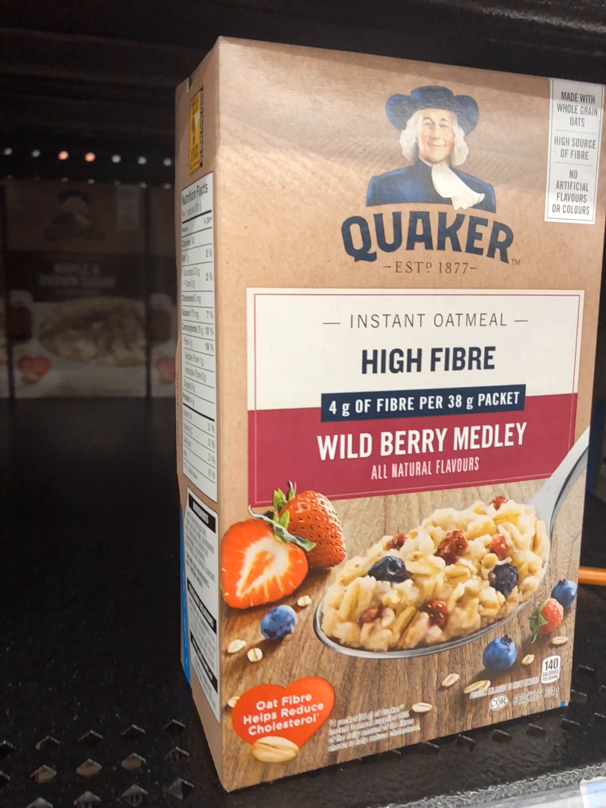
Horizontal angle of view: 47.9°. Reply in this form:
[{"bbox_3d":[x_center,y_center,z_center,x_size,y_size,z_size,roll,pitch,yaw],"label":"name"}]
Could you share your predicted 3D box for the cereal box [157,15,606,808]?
[{"bbox_3d":[0.025,0.005,0.220,0.130,0.200,0.070,-2,9,-21],"label":"cereal box"}]
